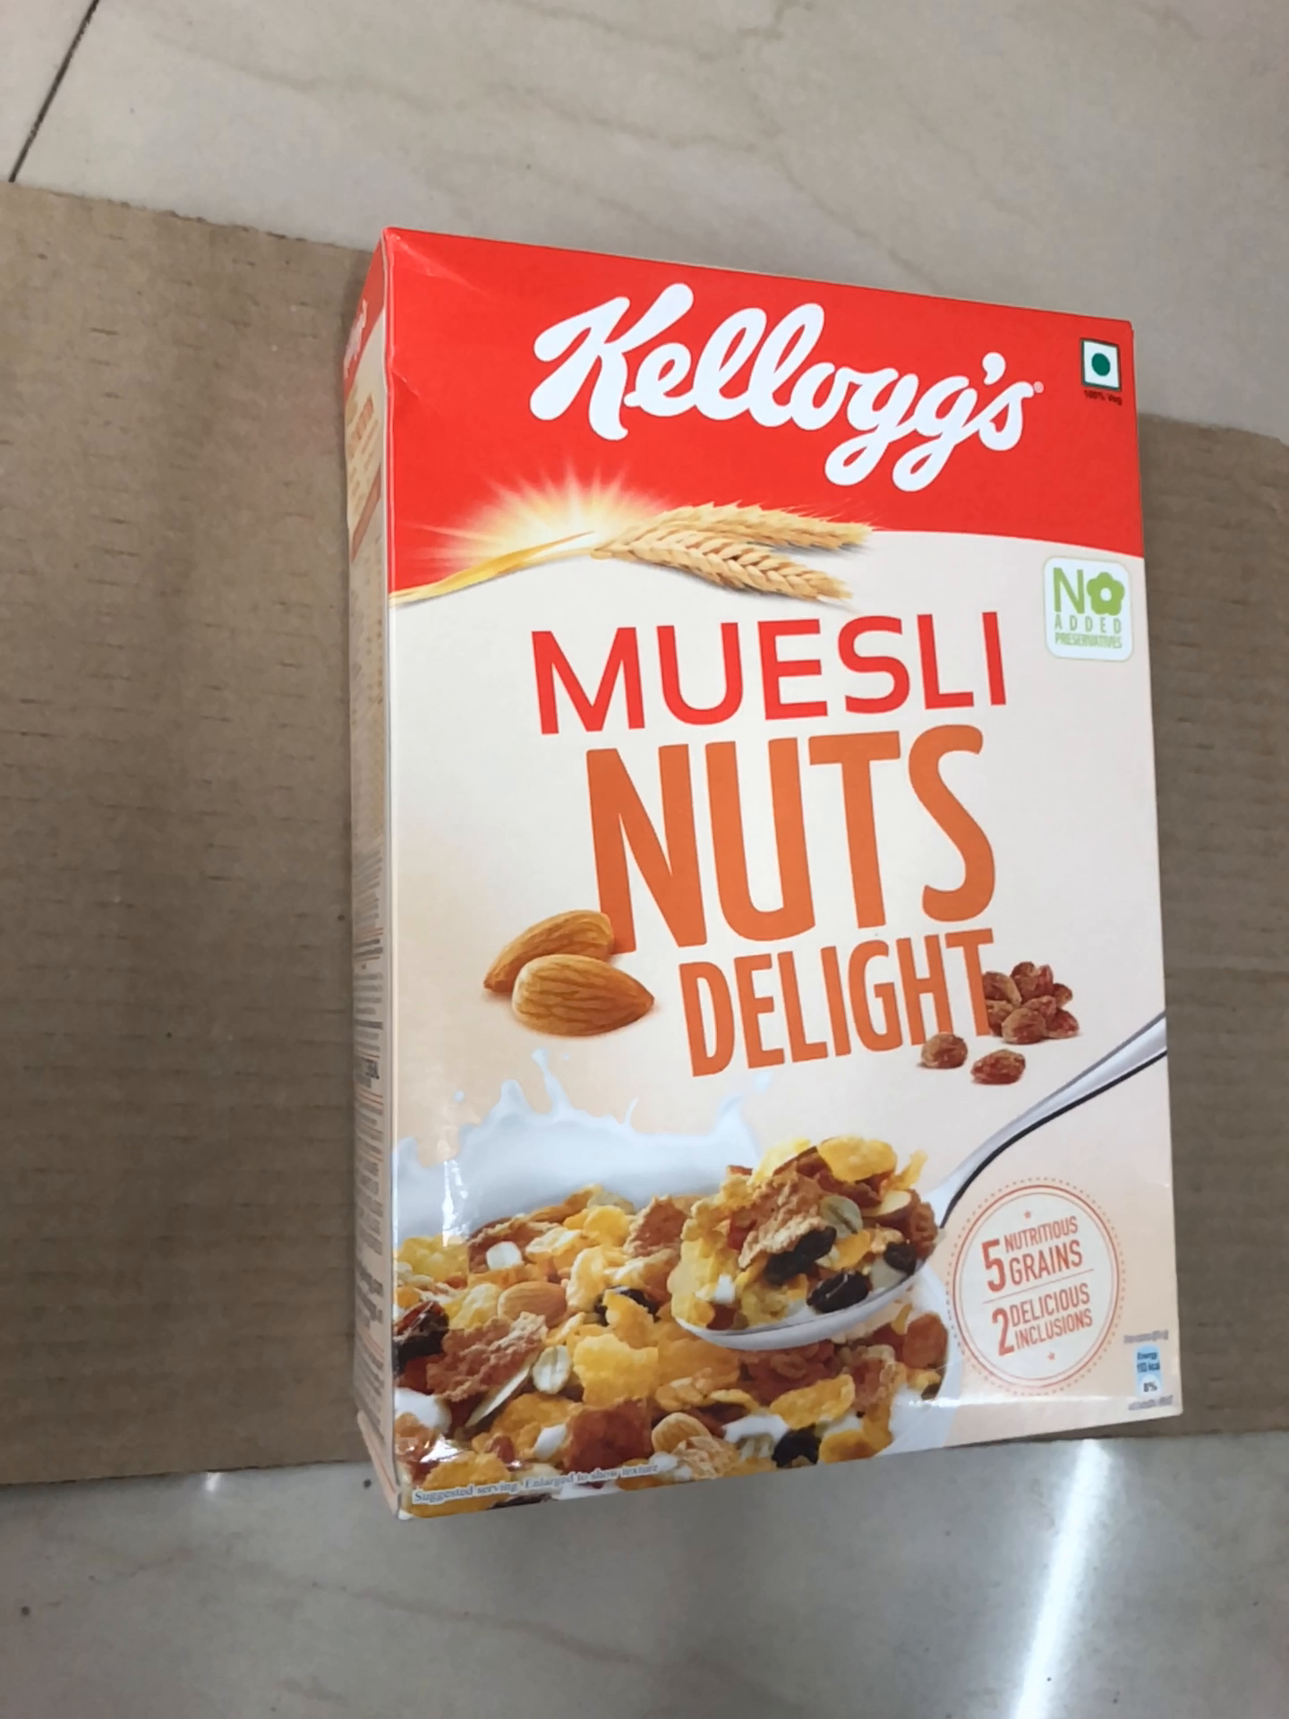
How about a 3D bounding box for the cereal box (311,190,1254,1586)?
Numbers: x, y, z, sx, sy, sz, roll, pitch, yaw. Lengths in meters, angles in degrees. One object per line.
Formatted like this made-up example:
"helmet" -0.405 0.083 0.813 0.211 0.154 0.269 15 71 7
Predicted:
"cereal box" 0.028 0.003 0.324 0.190 0.080 0.250 -1 89 -17
